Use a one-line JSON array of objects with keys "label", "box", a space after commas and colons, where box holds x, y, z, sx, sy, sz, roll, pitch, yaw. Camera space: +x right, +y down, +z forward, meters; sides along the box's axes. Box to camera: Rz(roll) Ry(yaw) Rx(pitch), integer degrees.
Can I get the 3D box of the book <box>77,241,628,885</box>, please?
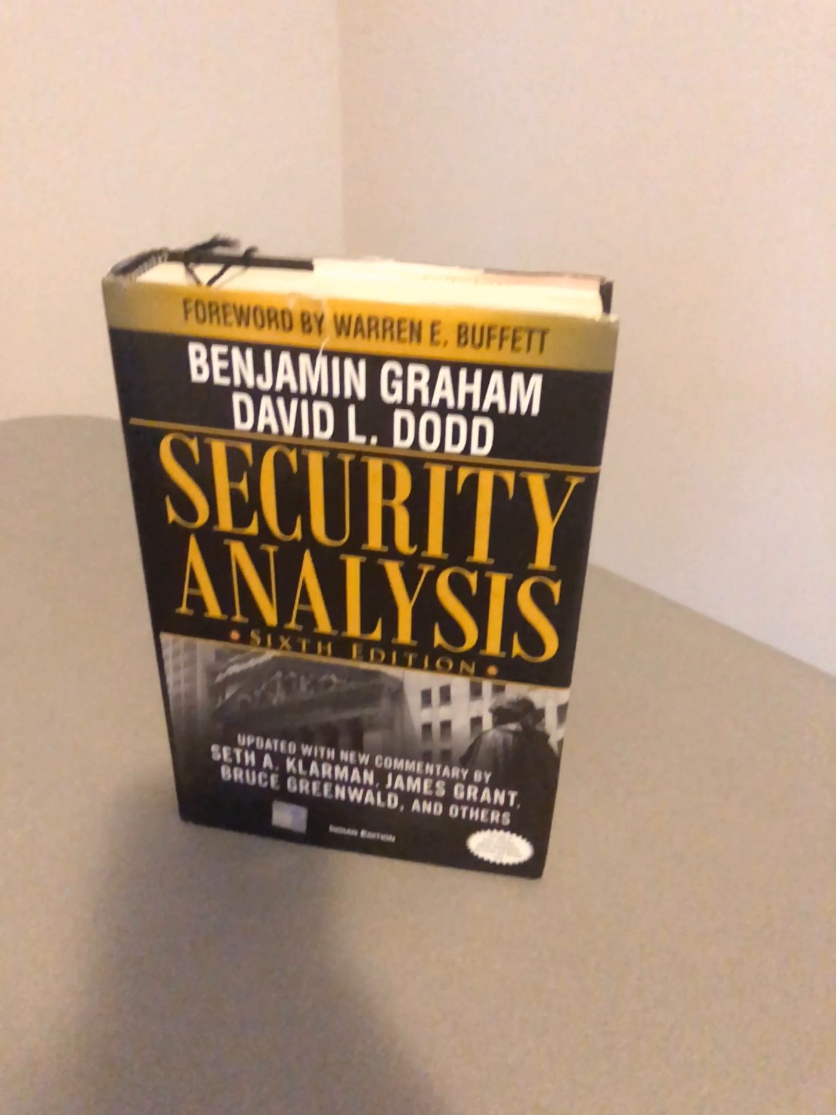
[{"label": "book", "box": [-0.020, 0.011, 0.349, 0.164, 0.230, 0.047, 7, 31, 10]}]
